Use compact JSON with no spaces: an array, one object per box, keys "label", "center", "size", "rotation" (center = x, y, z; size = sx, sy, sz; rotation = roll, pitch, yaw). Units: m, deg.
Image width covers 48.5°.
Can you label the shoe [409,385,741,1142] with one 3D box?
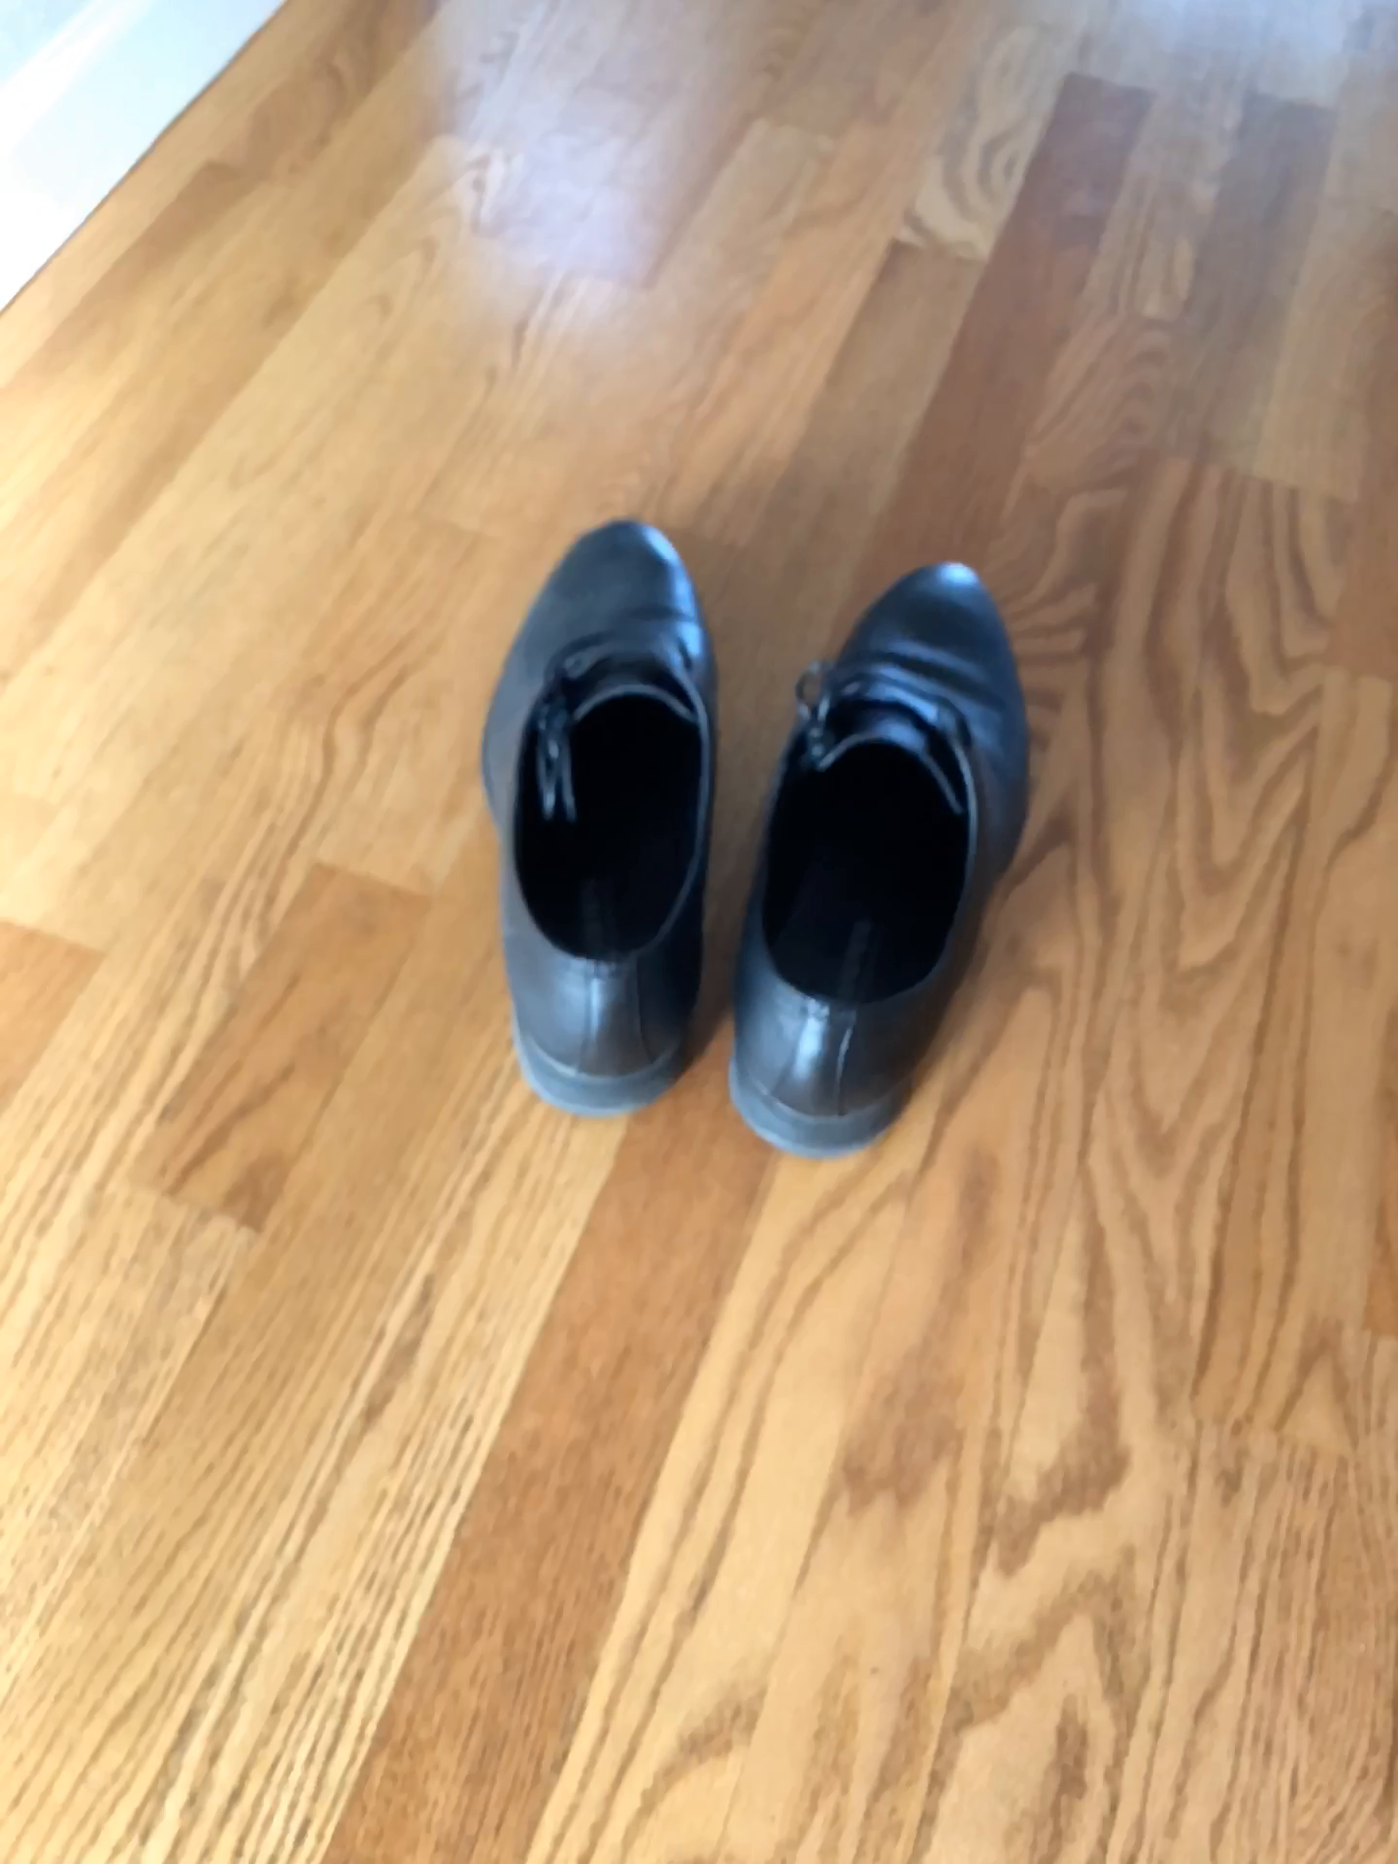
[{"label":"shoe","center":[-0.042,-0.078,0.657],"size":[0.110,0.124,0.305],"rotation":[2,58,-1]}]

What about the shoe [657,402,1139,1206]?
[{"label":"shoe","center":[0.085,-0.061,0.637],"size":[0.110,0.124,0.300],"rotation":[17,58,8]}]
